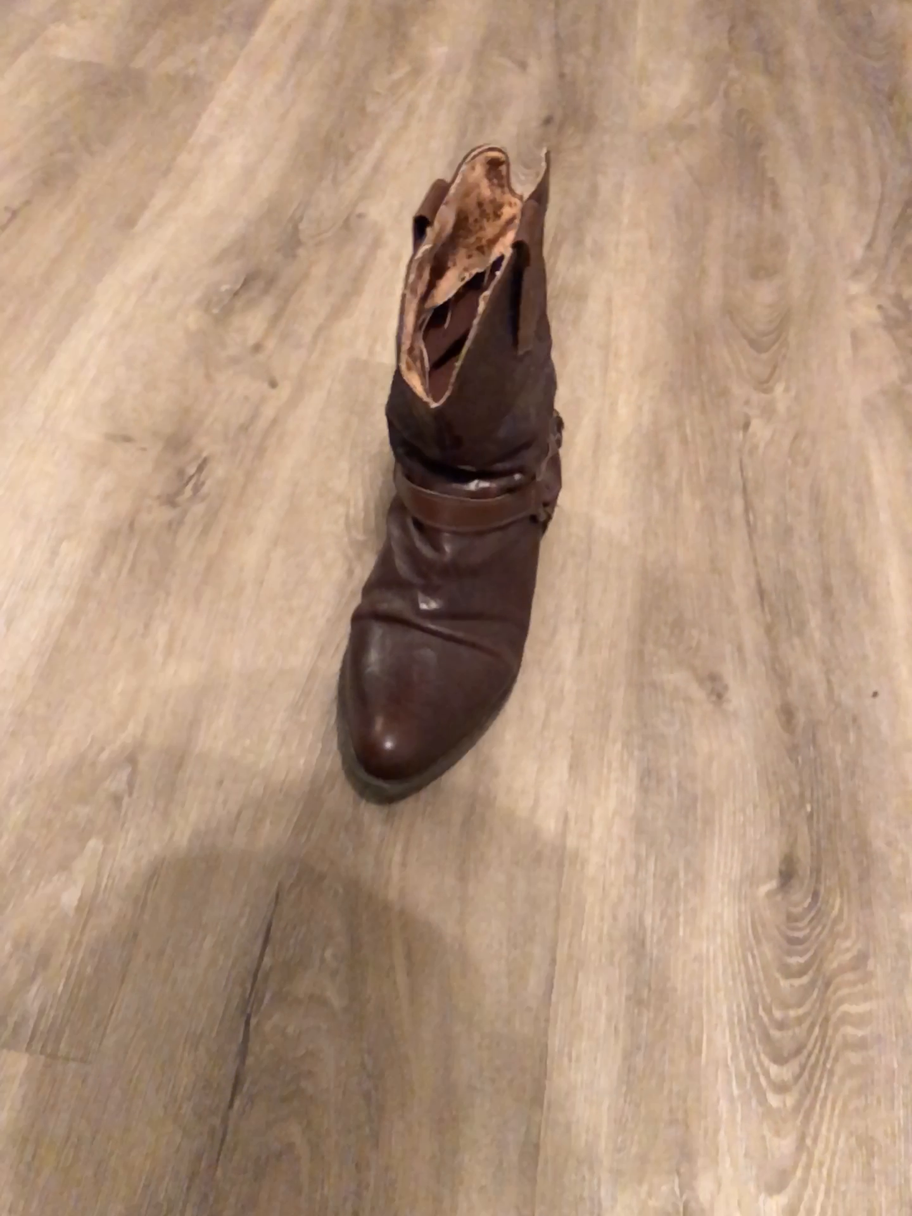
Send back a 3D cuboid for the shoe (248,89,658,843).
[{"bbox_3d":[0.004,-0.061,0.449,0.100,0.209,0.241,13,52,4],"label":"shoe"}]
